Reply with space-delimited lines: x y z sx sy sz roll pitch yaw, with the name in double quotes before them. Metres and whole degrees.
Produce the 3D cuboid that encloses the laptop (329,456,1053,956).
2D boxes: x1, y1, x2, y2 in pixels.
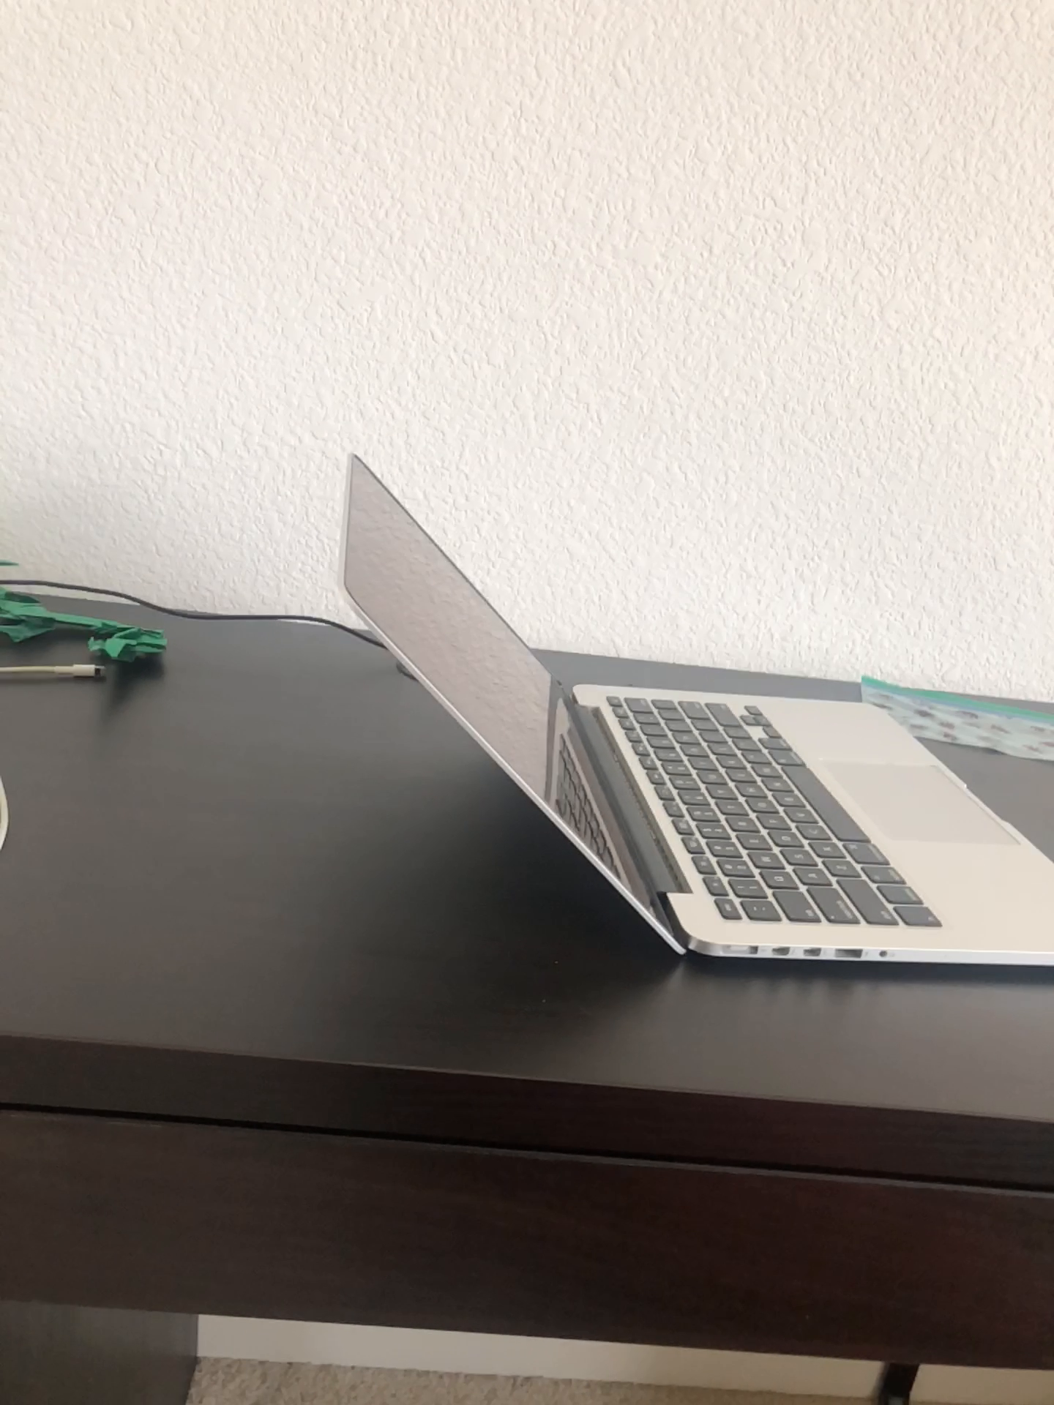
"laptop" 0.087 -0.018 0.612 0.362 0.133 0.310 4 21 -9
